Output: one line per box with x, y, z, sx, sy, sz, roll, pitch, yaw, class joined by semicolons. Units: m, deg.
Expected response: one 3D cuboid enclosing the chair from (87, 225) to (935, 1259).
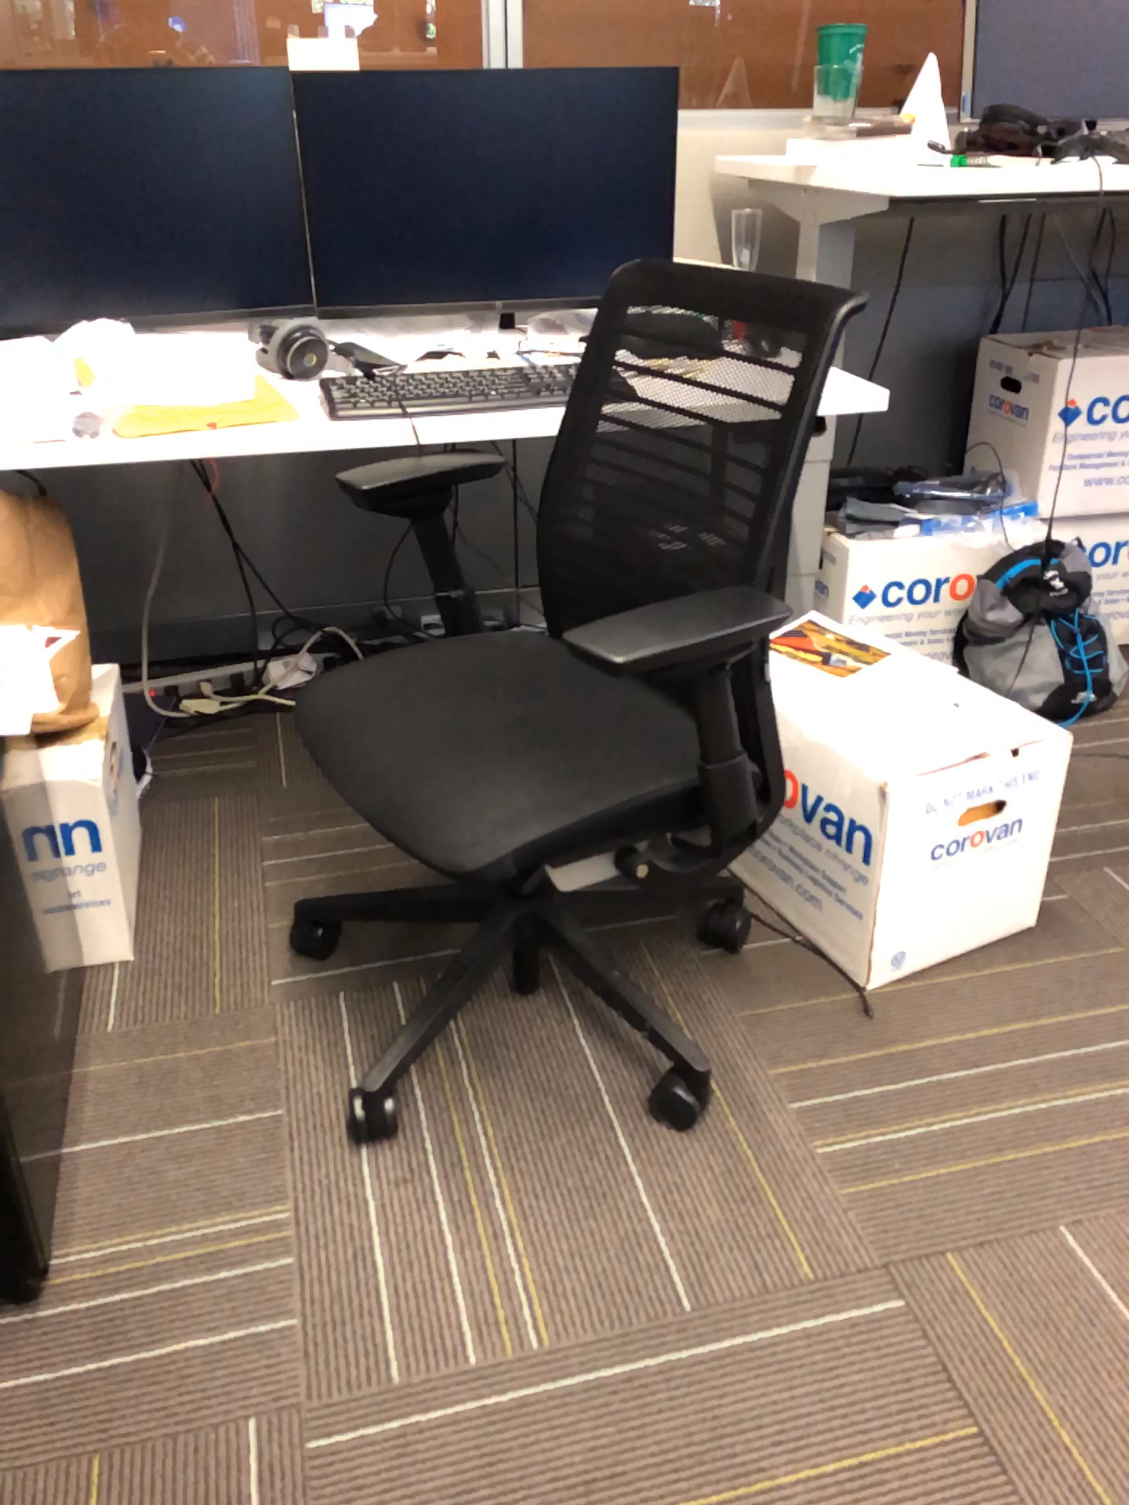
-0.084;-0.090;1.478;0.611;0.935;0.672;-18;32;-30;chair
